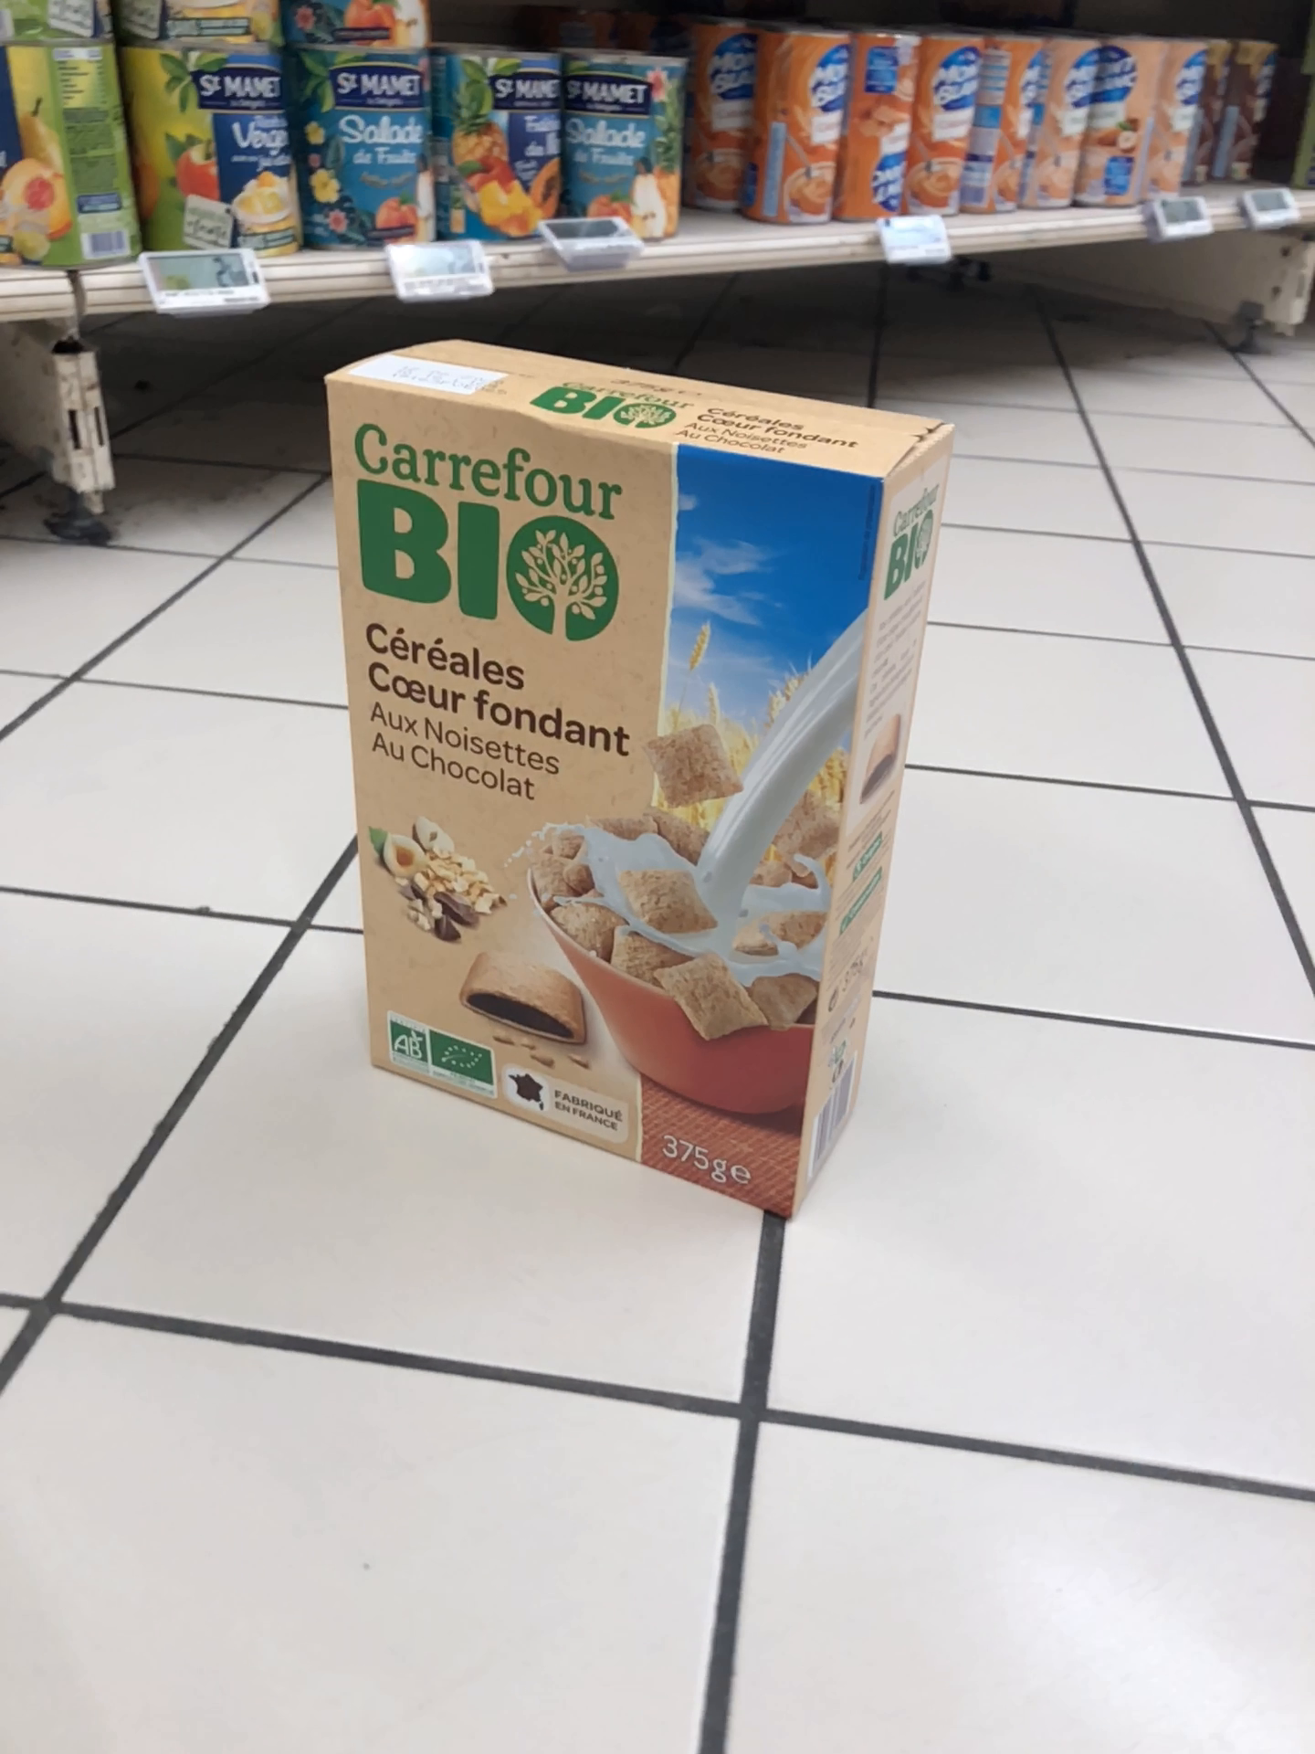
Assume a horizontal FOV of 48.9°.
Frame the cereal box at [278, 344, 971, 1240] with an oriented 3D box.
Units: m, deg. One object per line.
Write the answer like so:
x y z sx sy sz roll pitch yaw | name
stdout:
-0.014 -0.026 0.440 0.170 0.229 0.070 16 33 21 | cereal box
